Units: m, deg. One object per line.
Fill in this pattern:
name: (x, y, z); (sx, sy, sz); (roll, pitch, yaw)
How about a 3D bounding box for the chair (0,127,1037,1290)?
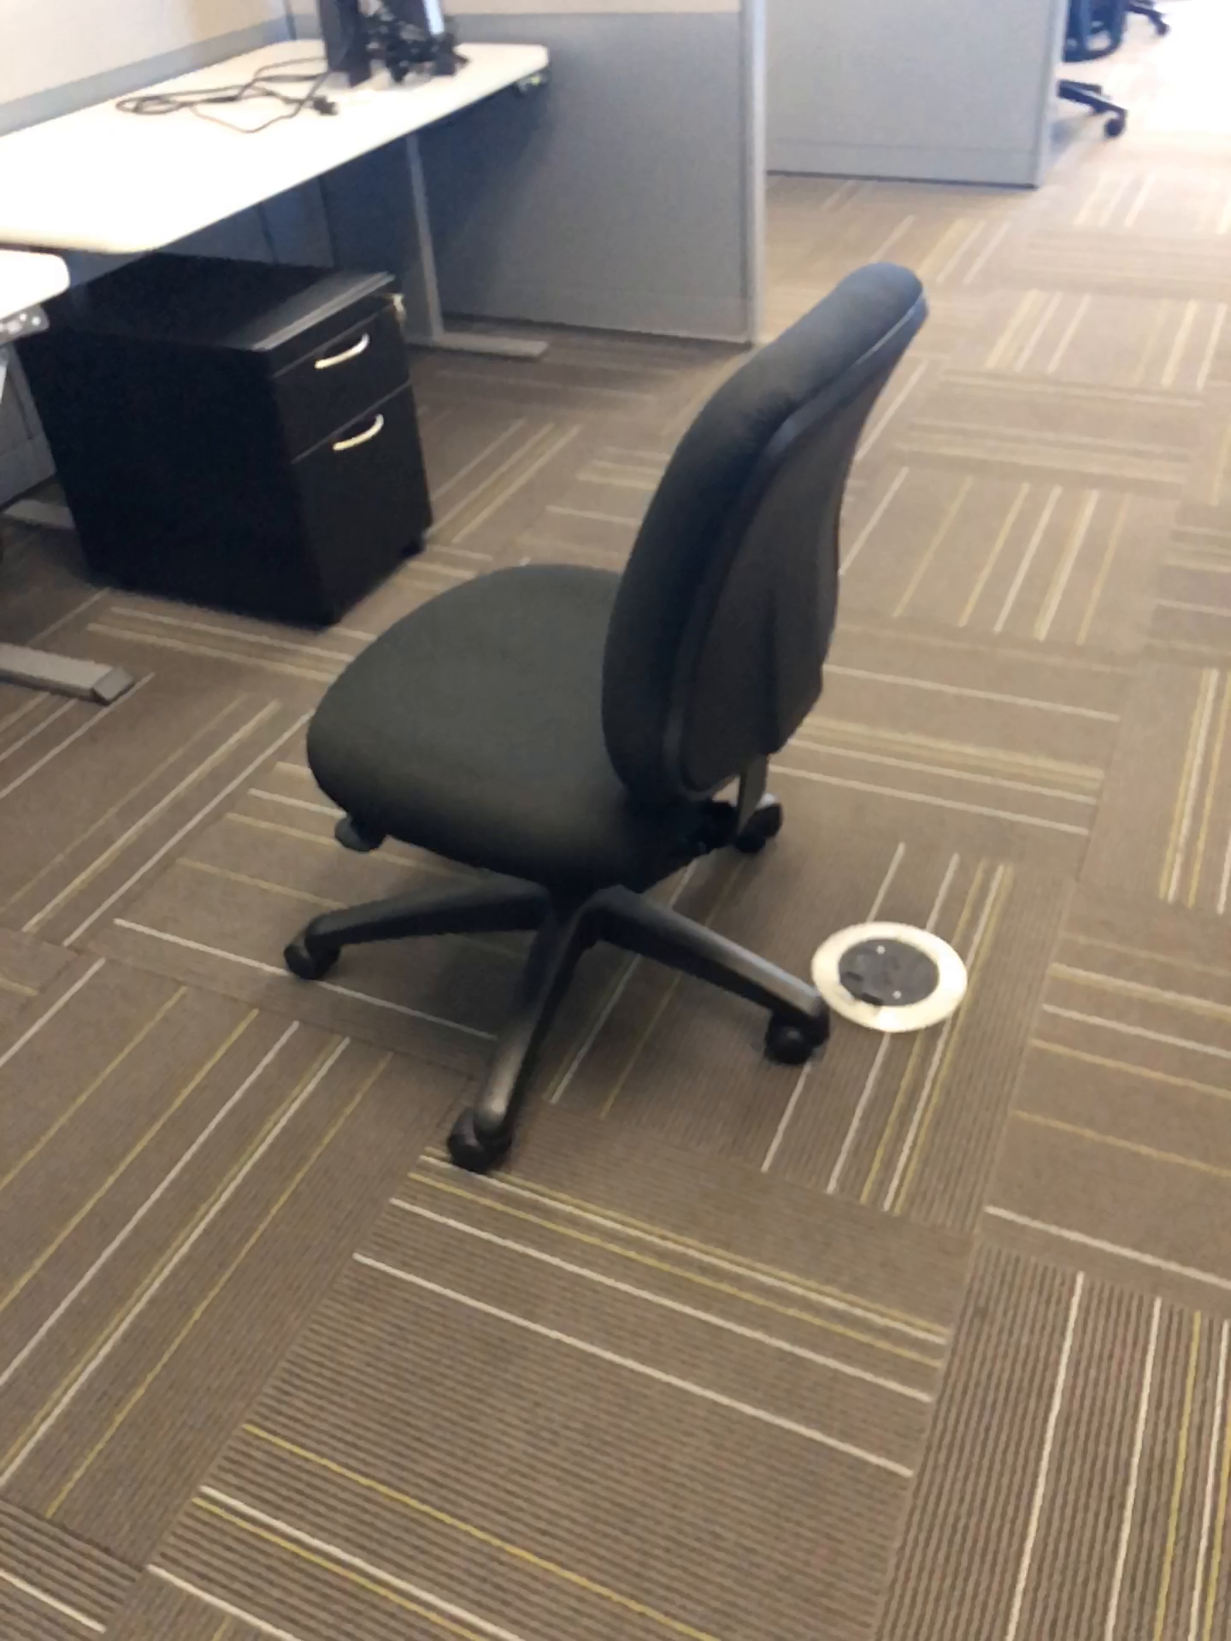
chair: (-0.060, -0.182, 1.476); (0.761, 0.846, 0.773); (13, 41, 20)
